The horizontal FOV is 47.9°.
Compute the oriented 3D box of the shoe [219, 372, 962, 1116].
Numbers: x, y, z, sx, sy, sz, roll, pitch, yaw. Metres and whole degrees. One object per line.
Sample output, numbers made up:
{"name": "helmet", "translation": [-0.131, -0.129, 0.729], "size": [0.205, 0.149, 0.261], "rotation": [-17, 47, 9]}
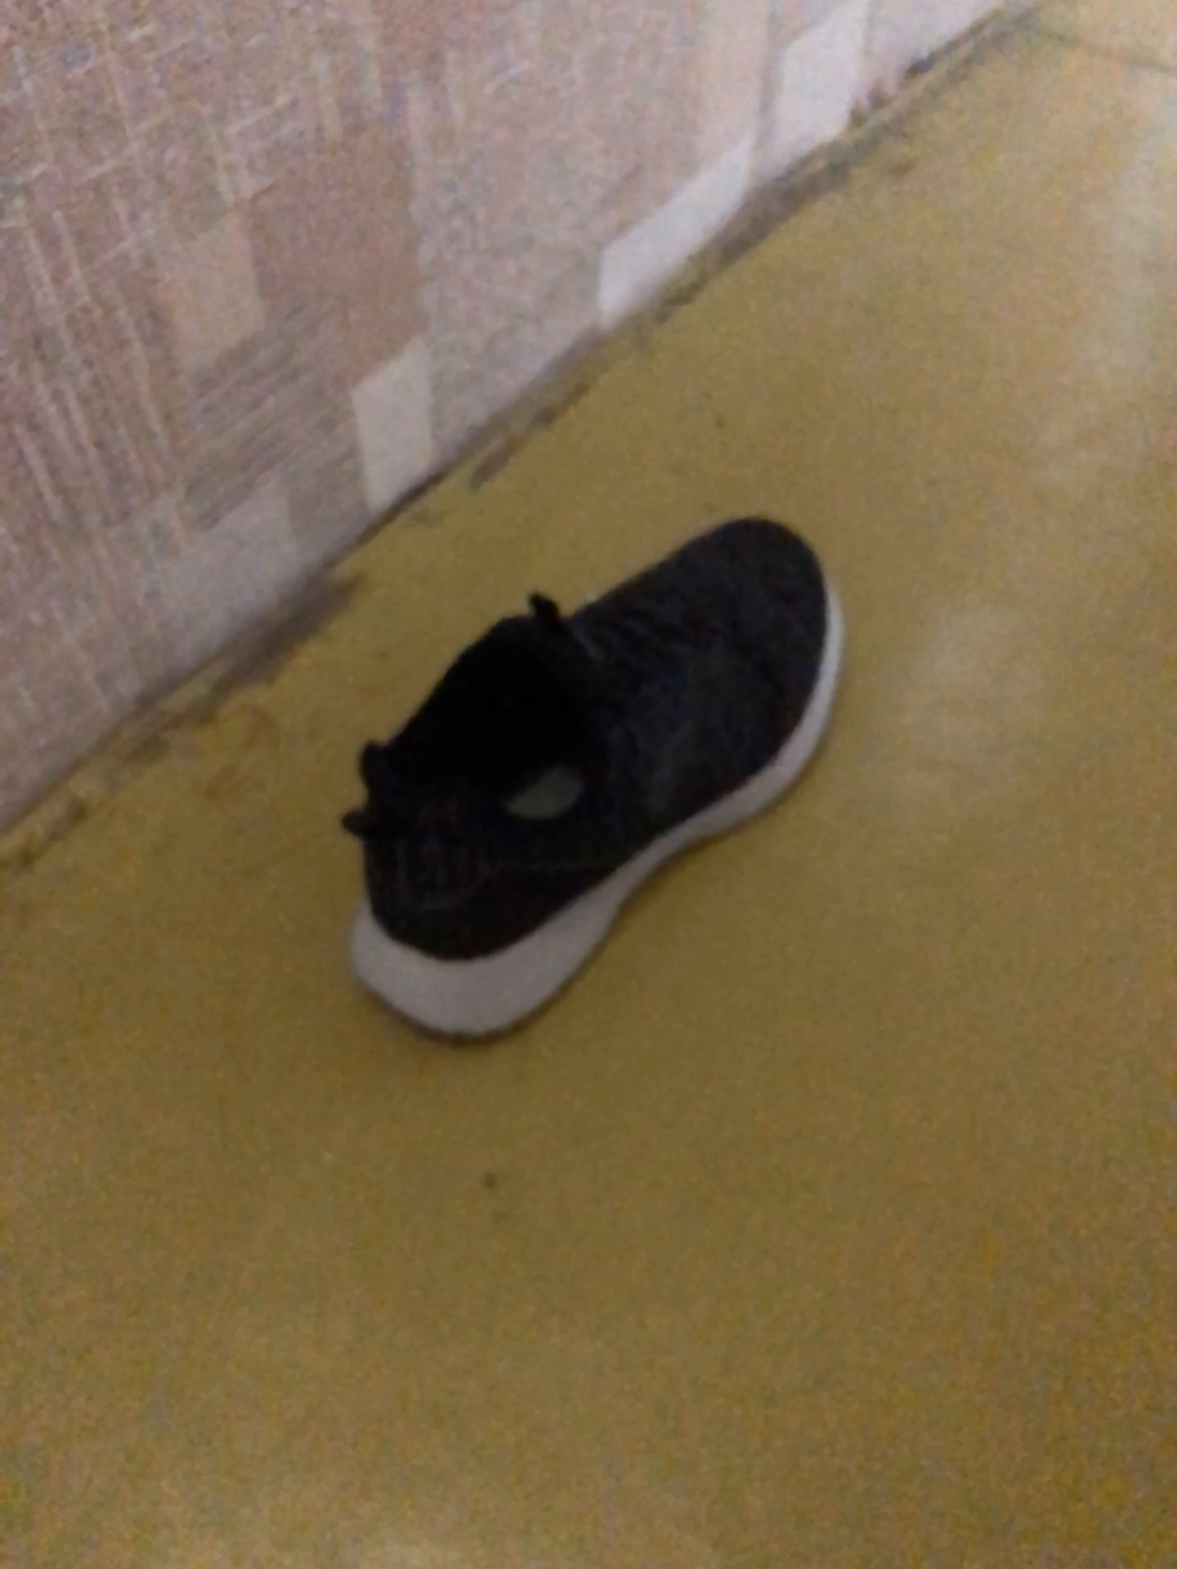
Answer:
{"name": "shoe", "translation": [0.015, -0.033, 0.592], "size": [0.130, 0.120, 0.321], "rotation": [33, 60, 24]}
